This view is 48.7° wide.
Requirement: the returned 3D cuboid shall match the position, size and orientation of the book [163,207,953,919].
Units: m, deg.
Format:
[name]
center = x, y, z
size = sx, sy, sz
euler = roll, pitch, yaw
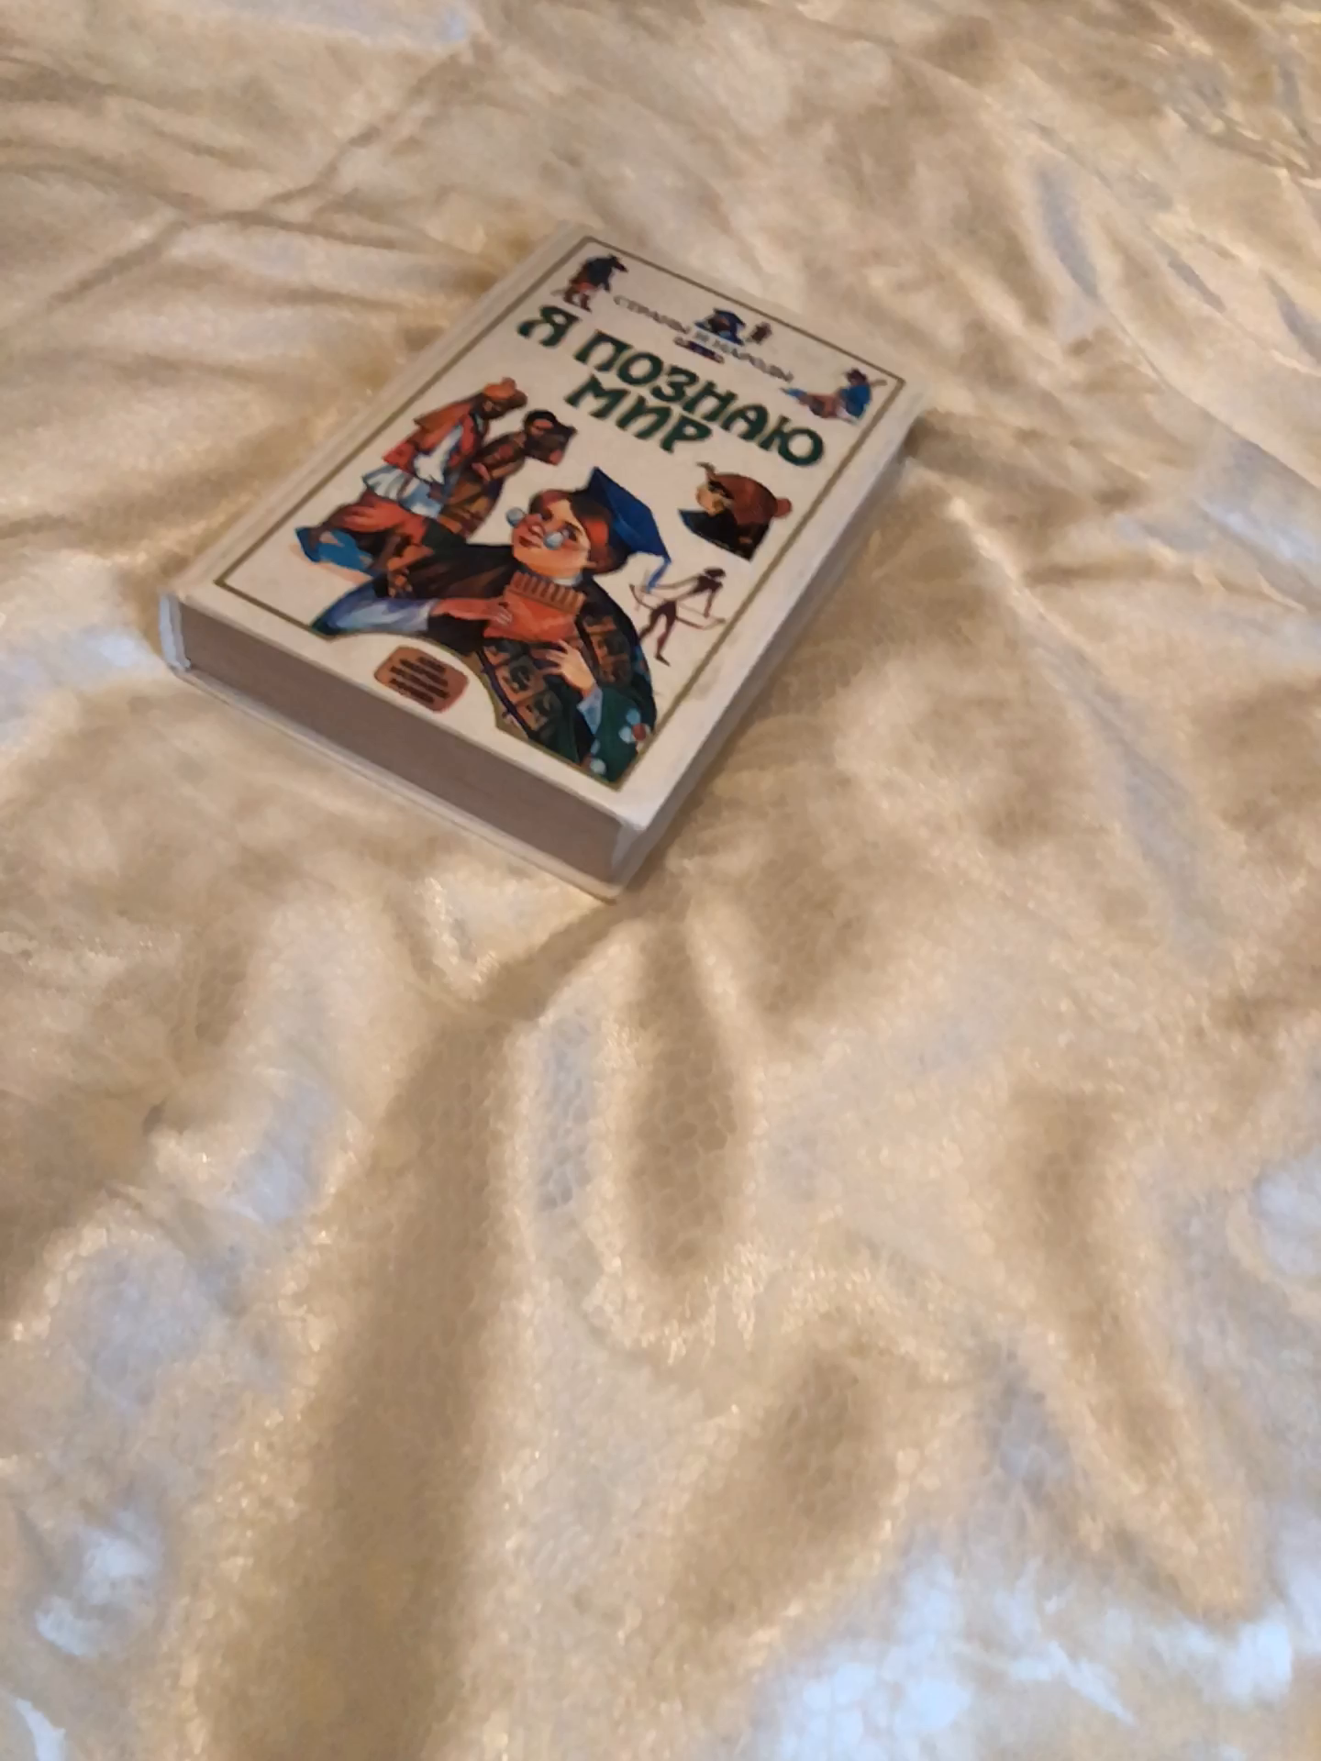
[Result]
[book]
center = -0.017, -0.100, 0.404
size = 0.134, 0.037, 0.198
euler = 28, 55, 7
